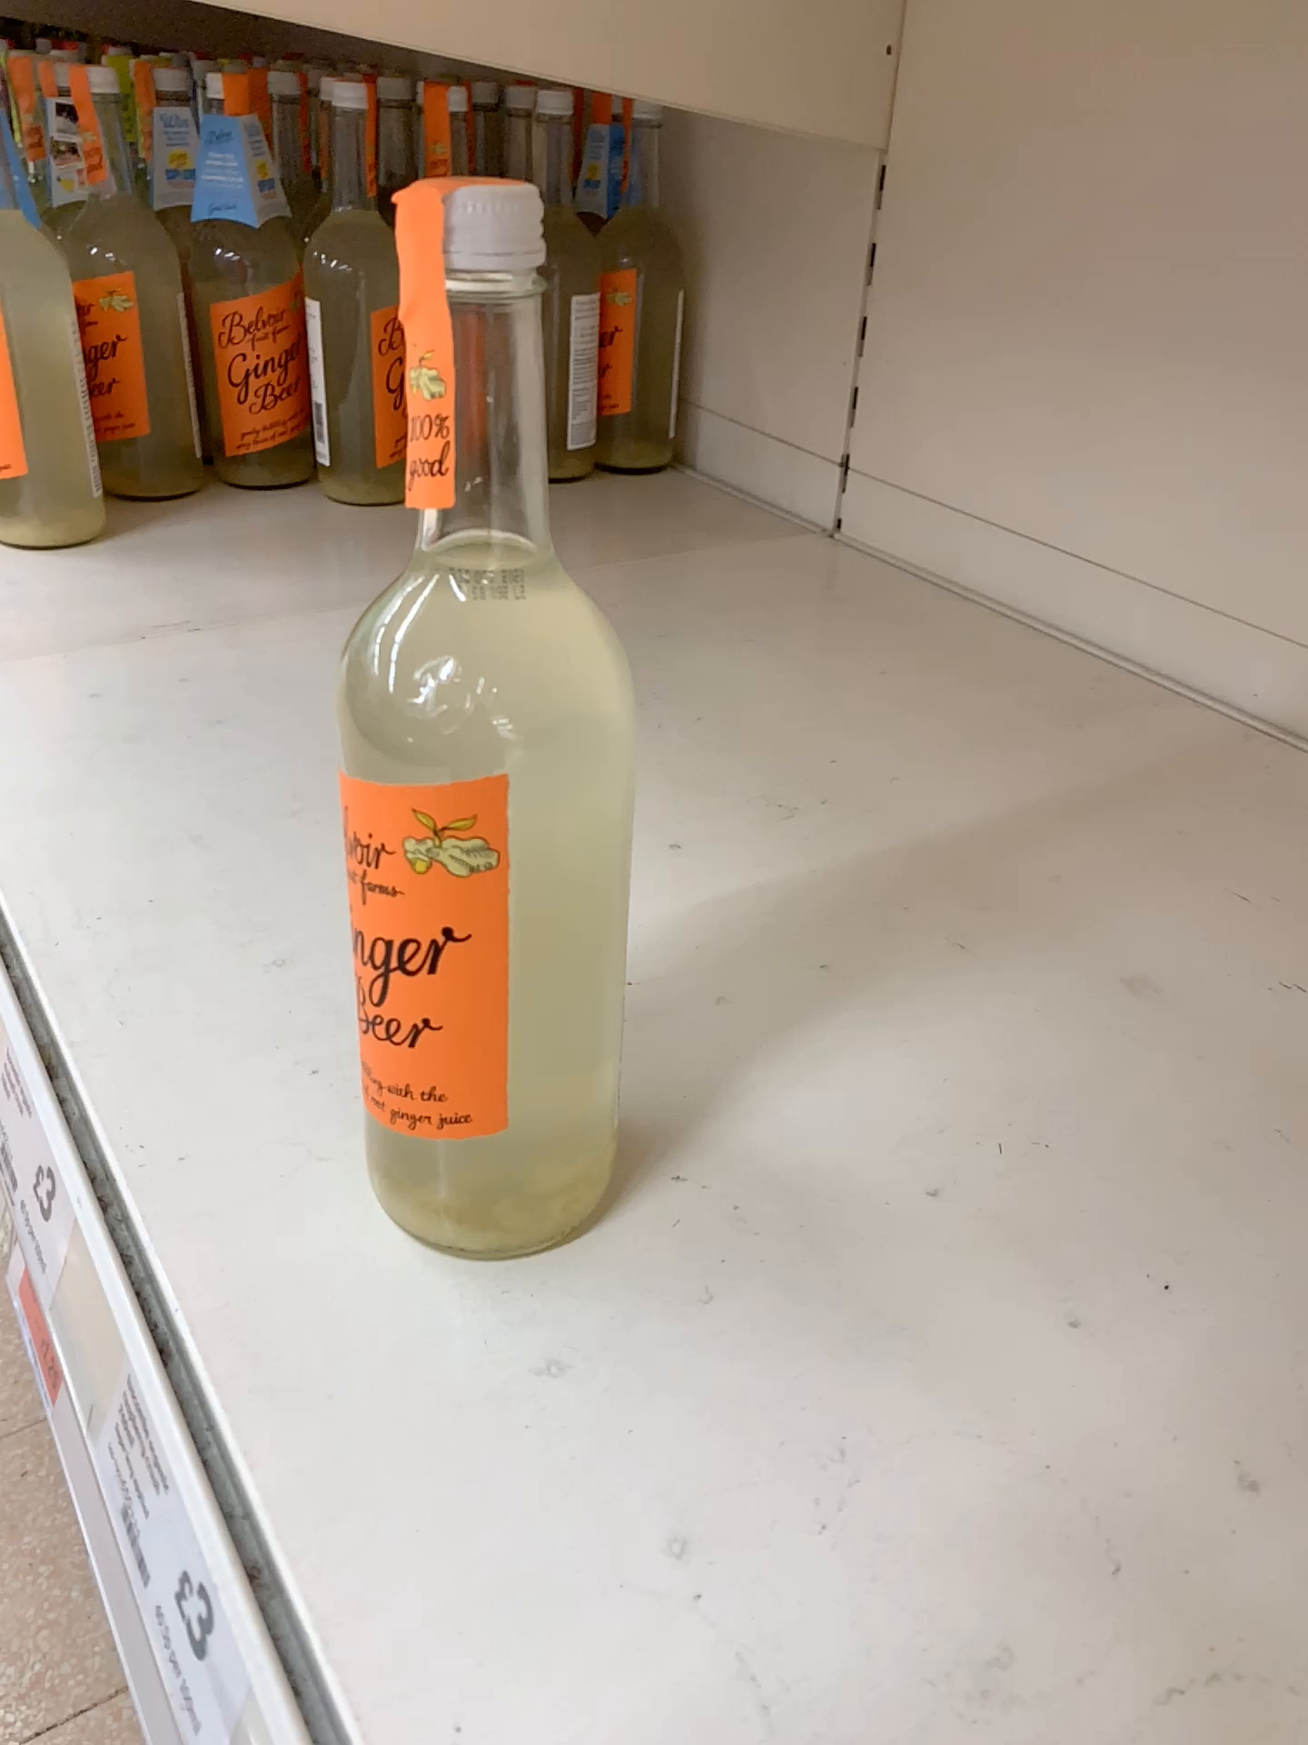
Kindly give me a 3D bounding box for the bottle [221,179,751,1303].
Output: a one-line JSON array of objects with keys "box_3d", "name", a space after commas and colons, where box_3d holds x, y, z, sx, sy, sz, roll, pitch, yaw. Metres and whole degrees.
[{"box_3d": [-0.045, -0.027, 0.361, 0.090, 0.277, 0.084, 2, 30, -1], "name": "bottle"}]
